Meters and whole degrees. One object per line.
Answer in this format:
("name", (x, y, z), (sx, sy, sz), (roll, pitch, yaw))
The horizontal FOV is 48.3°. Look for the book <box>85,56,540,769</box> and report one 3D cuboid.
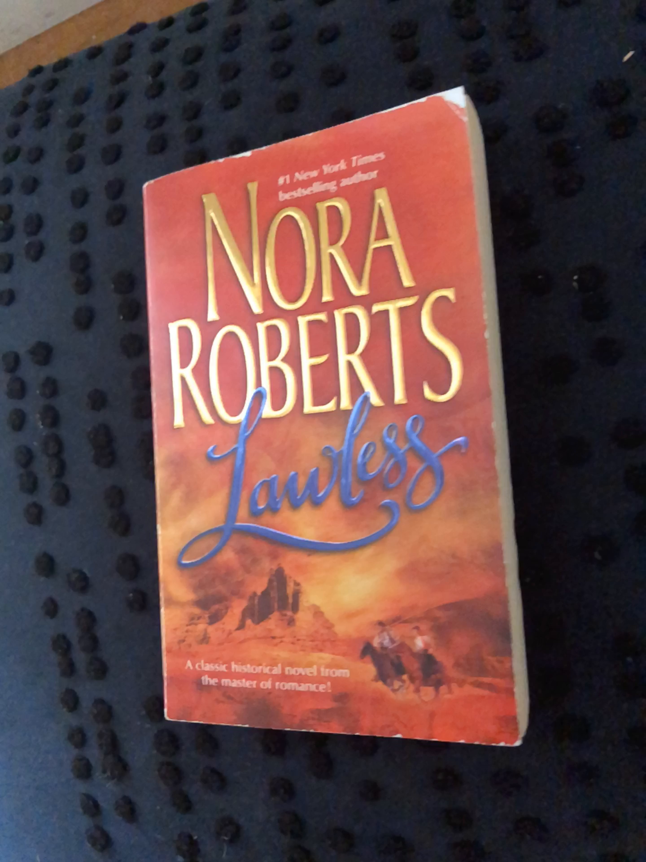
("book", (-0.005, -0.002, 0.217), (0.120, 0.040, 0.180), (-5, 84, 17))
